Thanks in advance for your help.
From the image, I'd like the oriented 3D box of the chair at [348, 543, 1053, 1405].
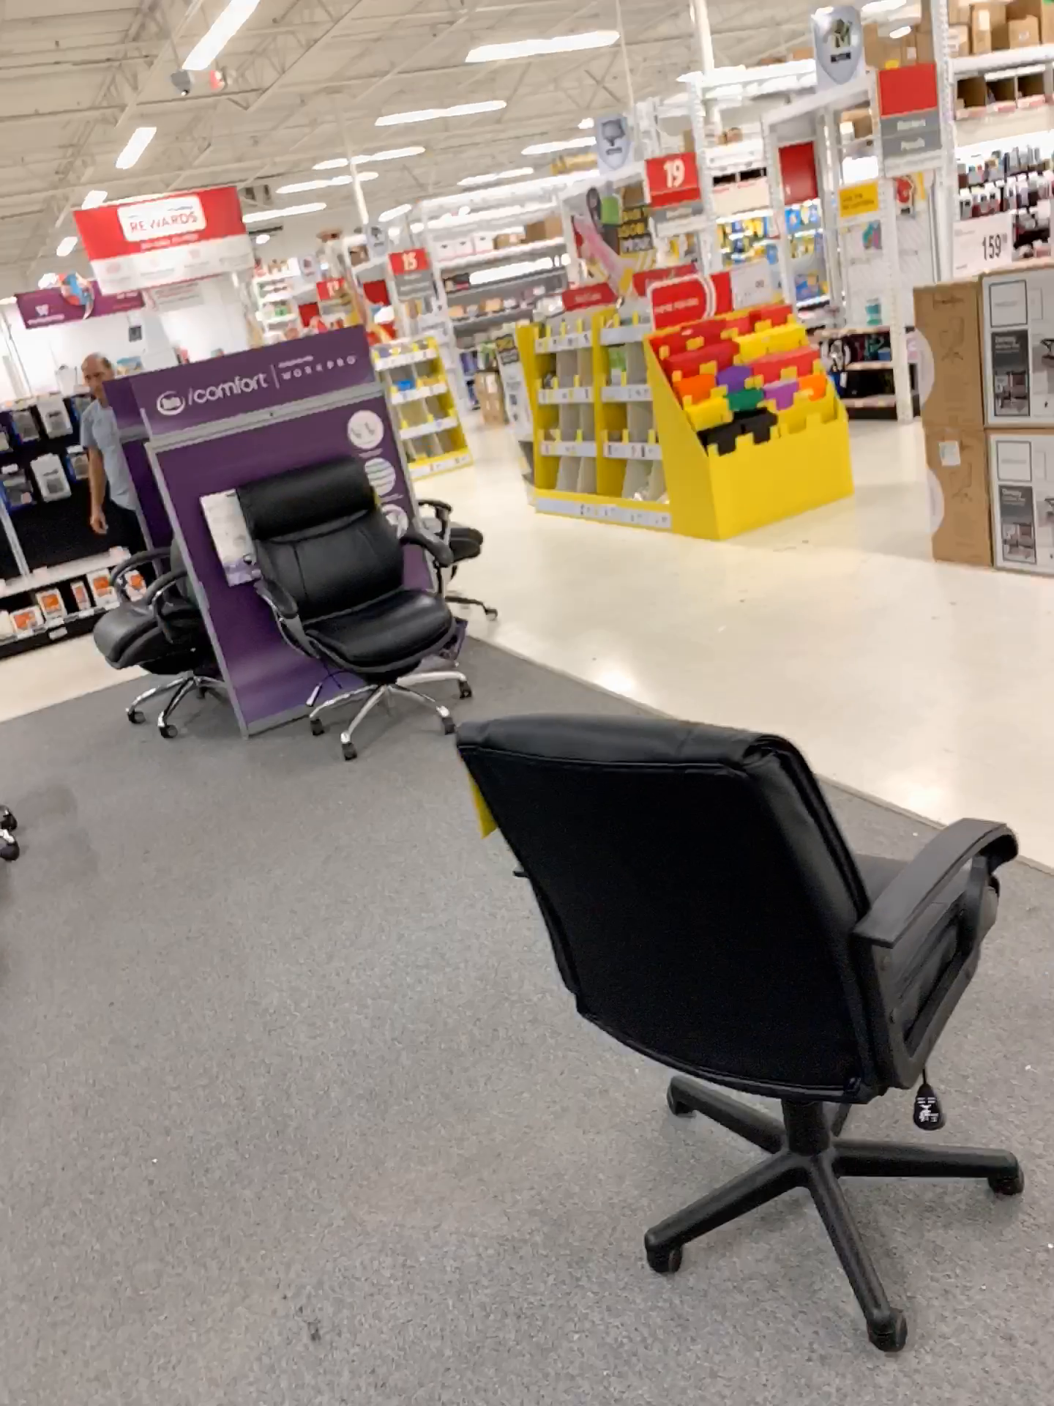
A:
[{"bbox_3d":[0.337,0.345,1.673,0.681,0.966,0.701,3,25,44],"label":"chair"}]
